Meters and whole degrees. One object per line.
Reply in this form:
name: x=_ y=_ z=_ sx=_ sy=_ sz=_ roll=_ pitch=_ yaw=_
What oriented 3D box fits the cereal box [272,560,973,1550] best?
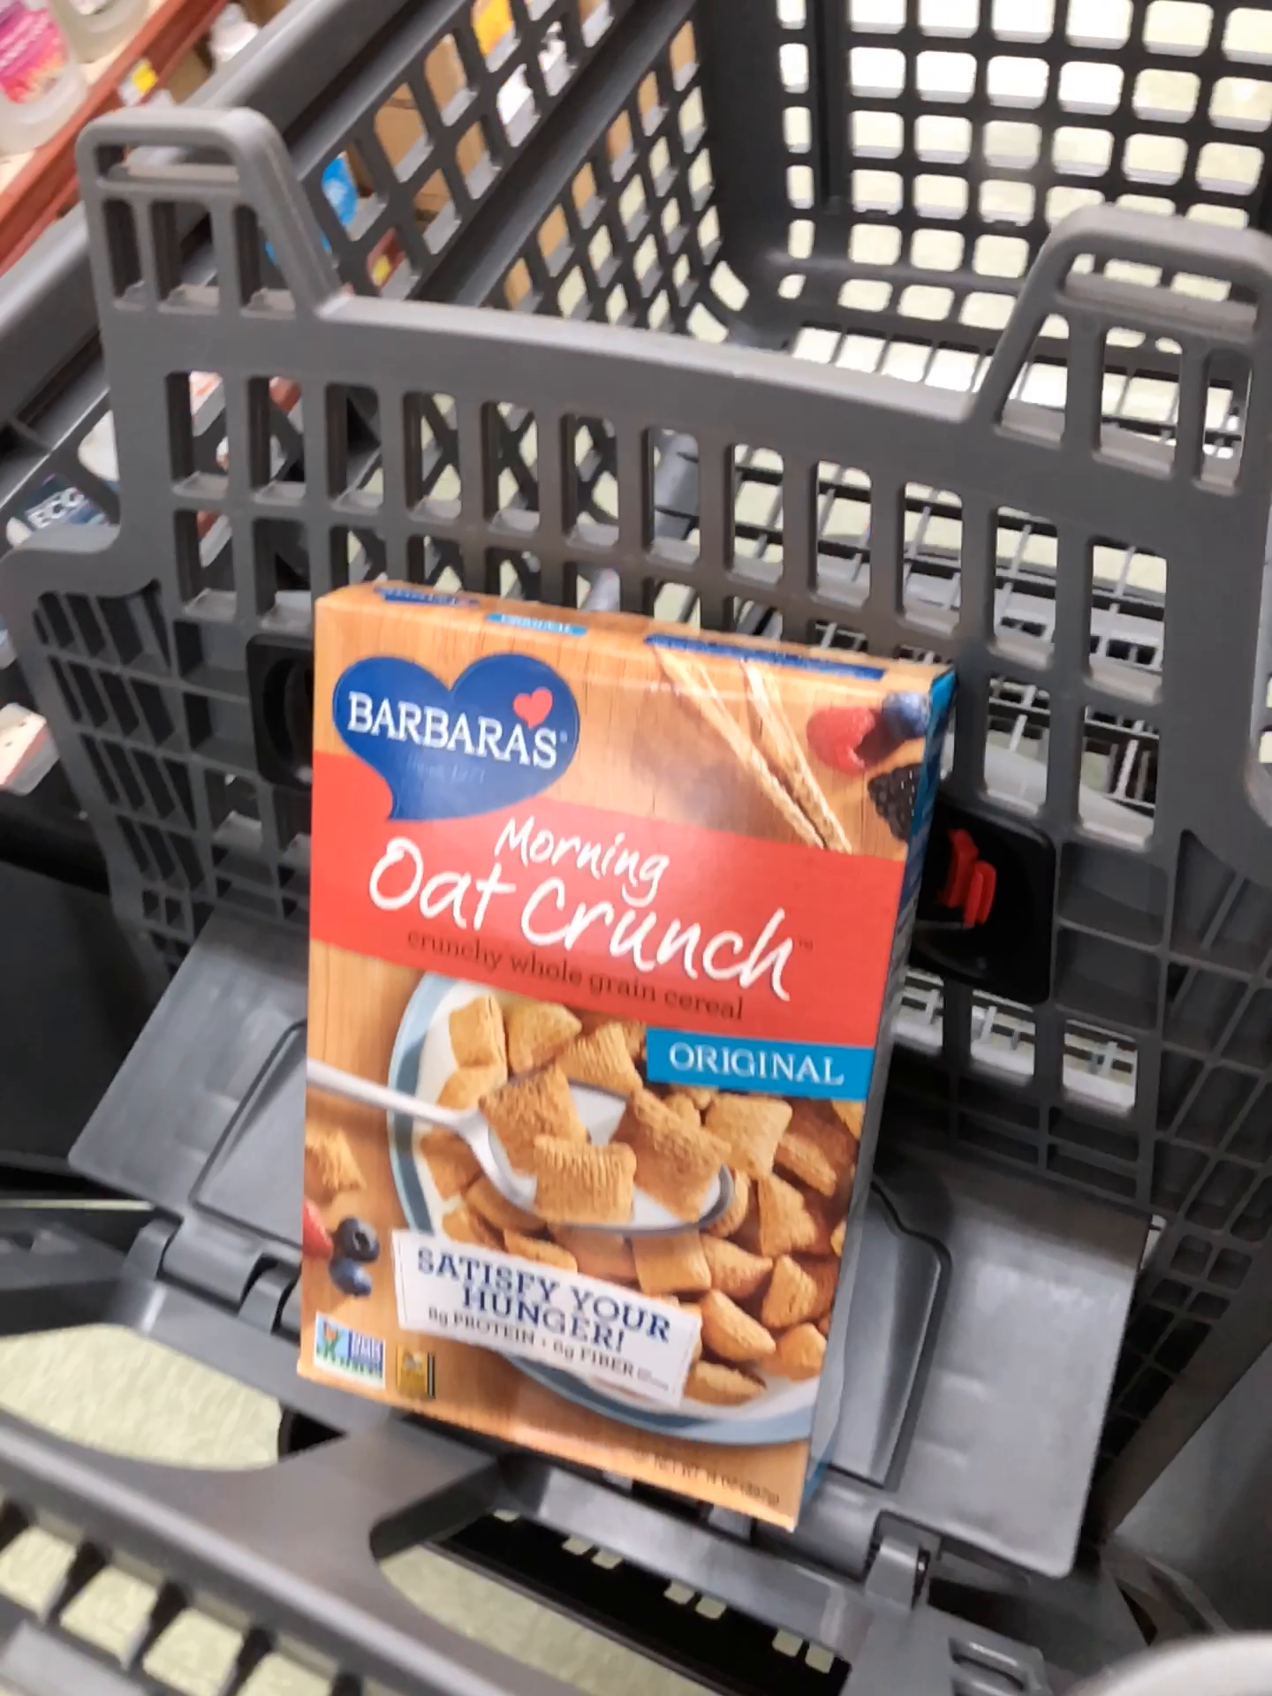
cereal box: x=-0.014 y=0.059 z=0.422 sx=0.180 sy=0.260 sz=0.060 roll=11 pitch=20 yaw=16
